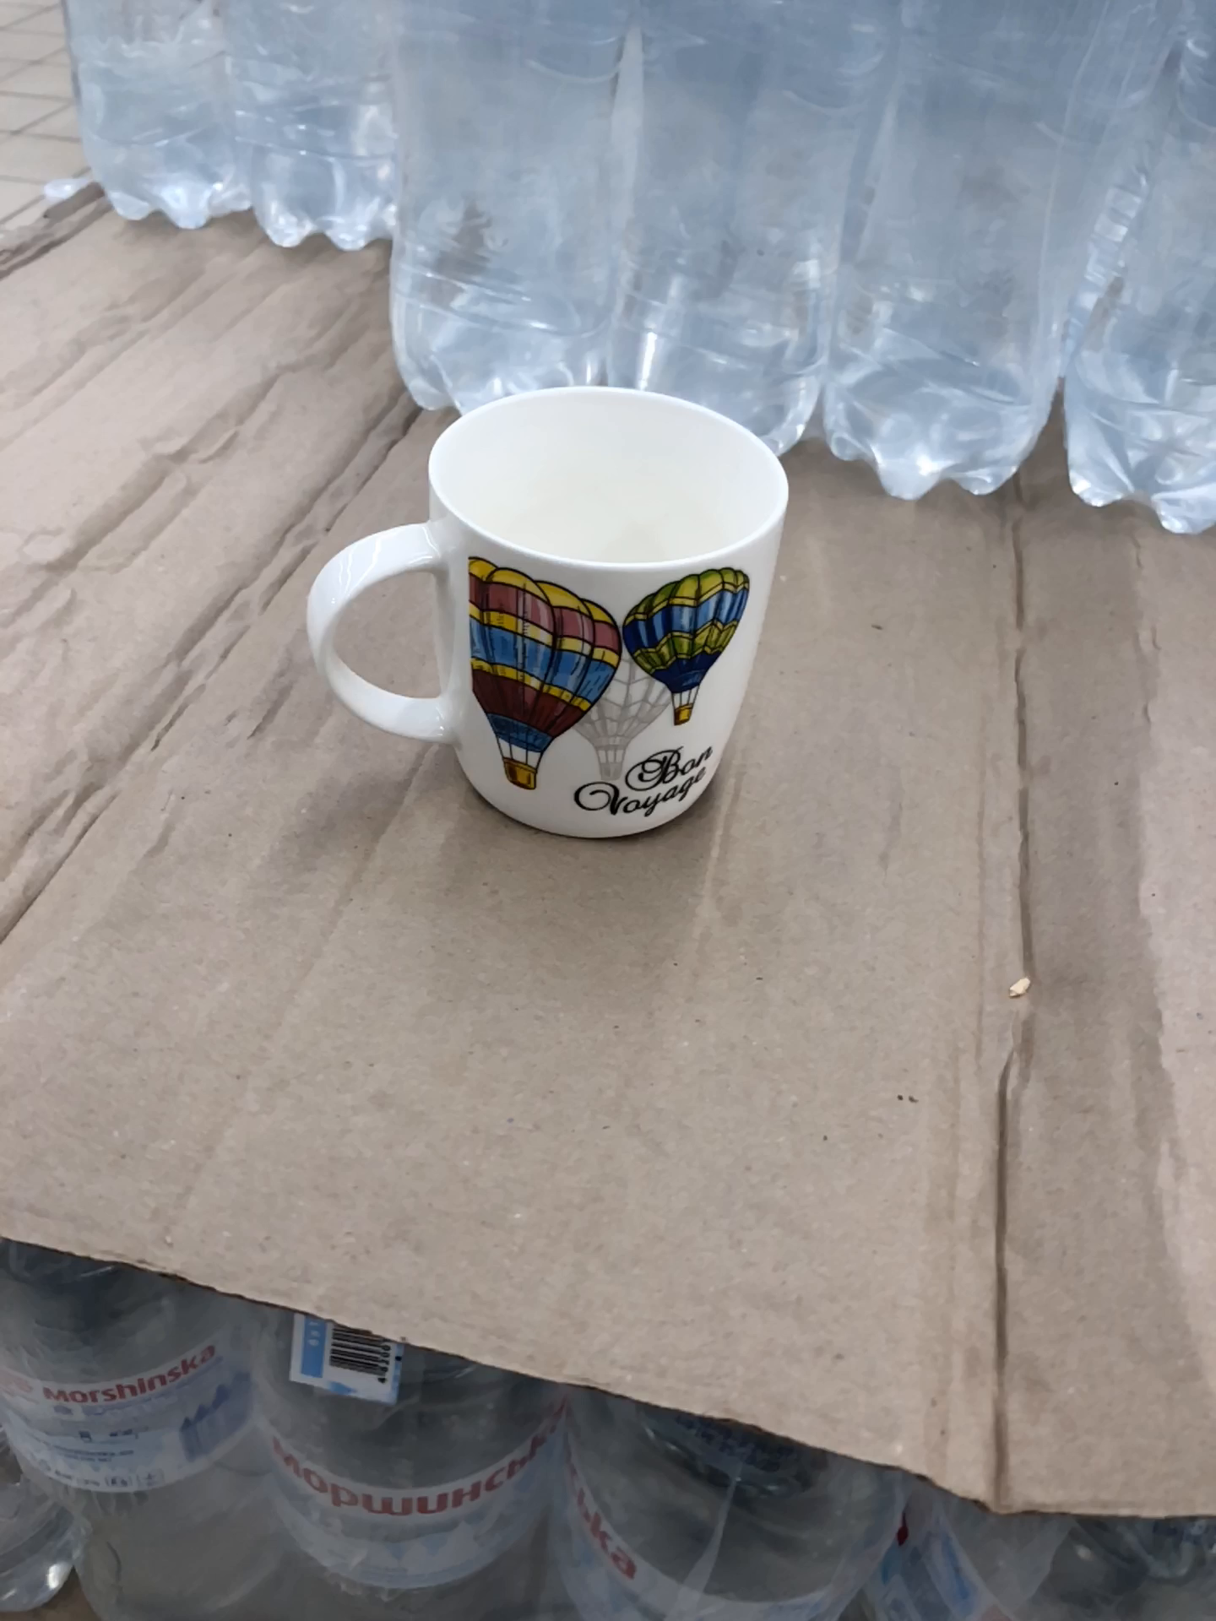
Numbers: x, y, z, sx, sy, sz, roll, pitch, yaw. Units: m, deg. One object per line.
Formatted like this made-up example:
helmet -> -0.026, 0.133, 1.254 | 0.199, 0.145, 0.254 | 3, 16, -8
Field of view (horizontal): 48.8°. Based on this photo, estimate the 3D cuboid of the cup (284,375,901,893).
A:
cup -> -0.009, -0.051, 0.355 | 0.131, 0.082, 0.093 | -9, 44, -13
